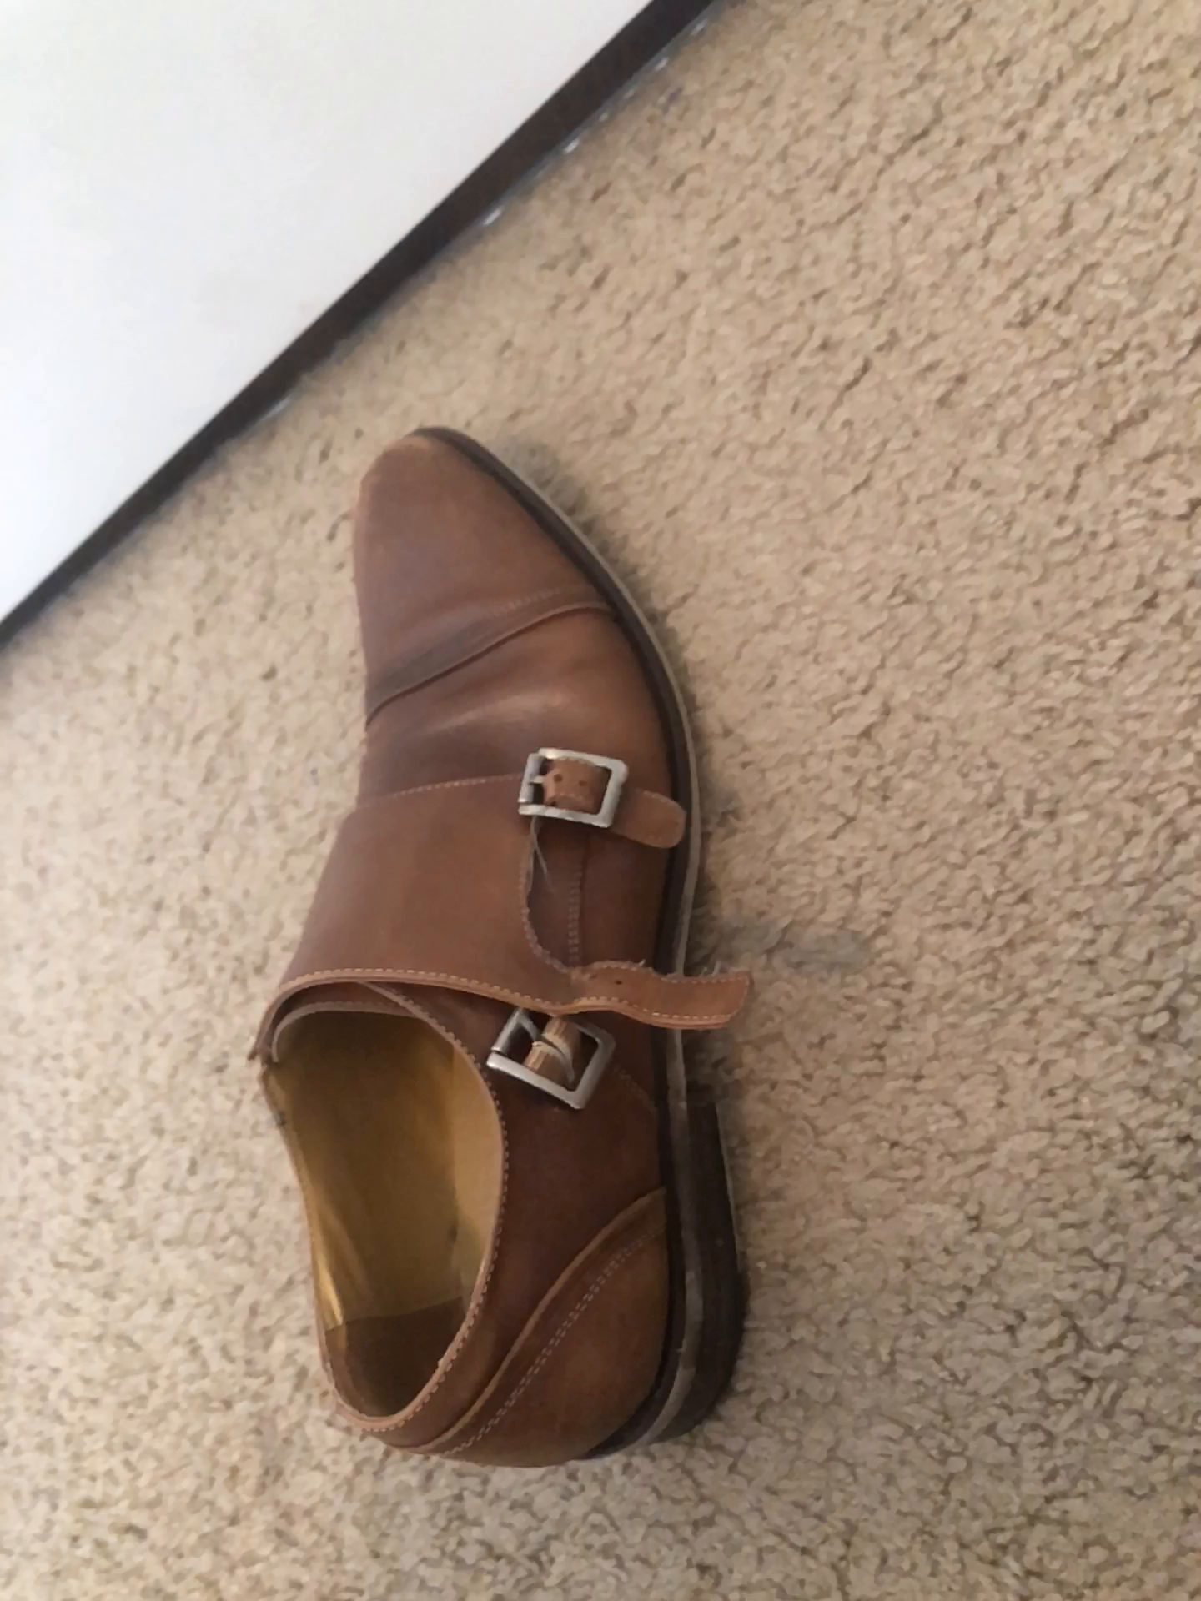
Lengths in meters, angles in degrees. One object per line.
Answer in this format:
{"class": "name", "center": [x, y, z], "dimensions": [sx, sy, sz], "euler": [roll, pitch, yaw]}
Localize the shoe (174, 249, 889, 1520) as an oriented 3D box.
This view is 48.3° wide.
{"class": "shoe", "center": [-0.029, 0.018, 0.357], "dimensions": [0.100, 0.107, 0.286], "euler": [-27, 64, 35]}
